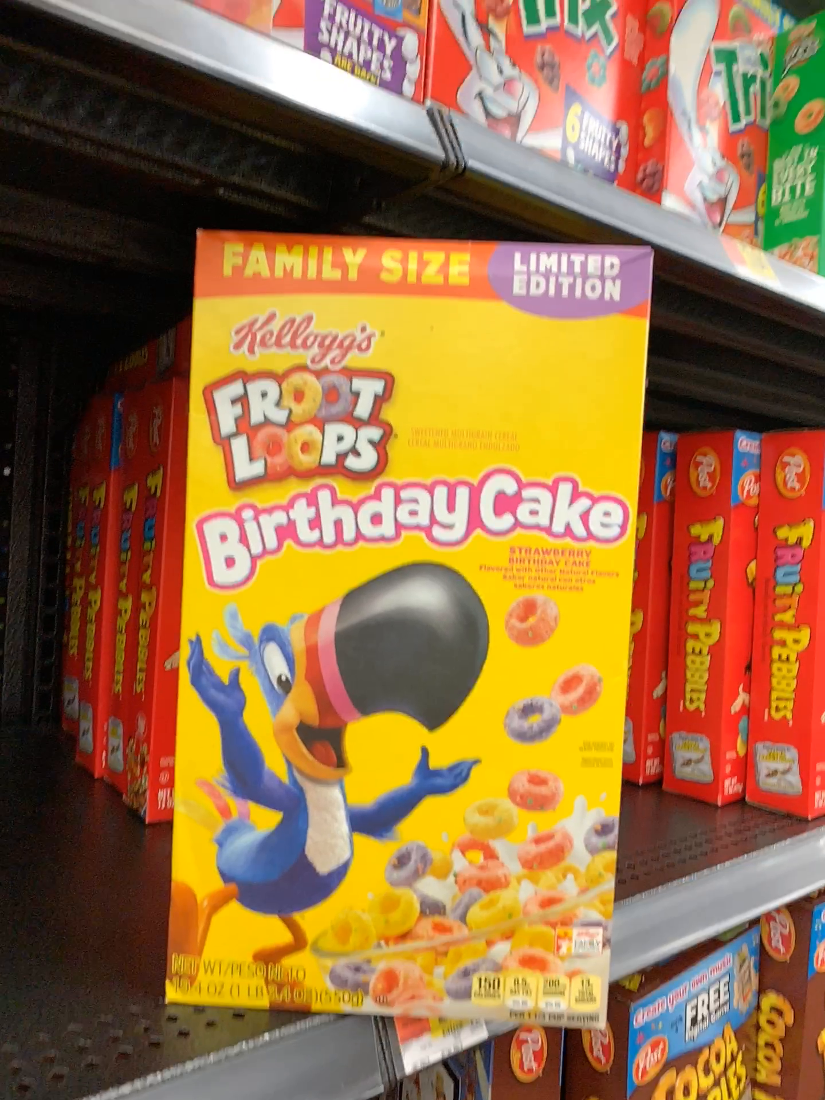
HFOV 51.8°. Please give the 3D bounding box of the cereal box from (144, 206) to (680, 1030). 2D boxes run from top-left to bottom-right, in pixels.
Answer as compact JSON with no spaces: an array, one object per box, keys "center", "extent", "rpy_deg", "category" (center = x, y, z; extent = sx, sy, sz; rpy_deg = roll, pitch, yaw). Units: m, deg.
[{"center":[-0.001,0.028,0.393],"extent":[0.200,0.330,0.080],"rpy_deg":[4,1,0],"category":"cereal box"}]
